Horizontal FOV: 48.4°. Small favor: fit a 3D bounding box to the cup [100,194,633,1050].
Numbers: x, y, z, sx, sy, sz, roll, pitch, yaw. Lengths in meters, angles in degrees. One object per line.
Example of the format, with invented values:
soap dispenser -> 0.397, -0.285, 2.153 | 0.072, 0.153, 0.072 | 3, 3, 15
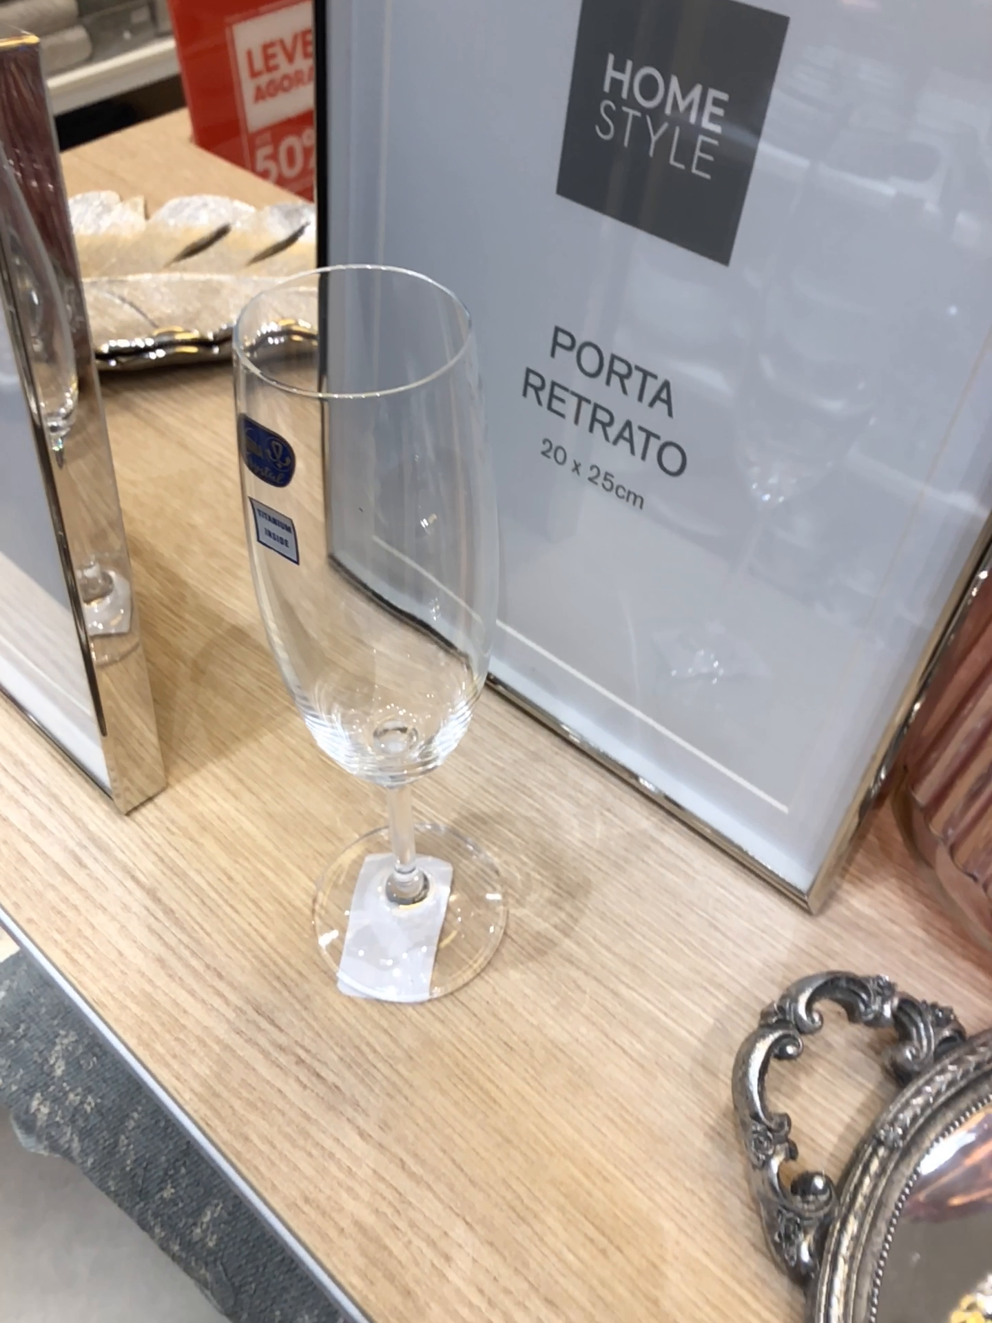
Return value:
cup -> -0.025, 0.009, 0.287 | 0.070, 0.218, 0.070 | 1, 48, -1
